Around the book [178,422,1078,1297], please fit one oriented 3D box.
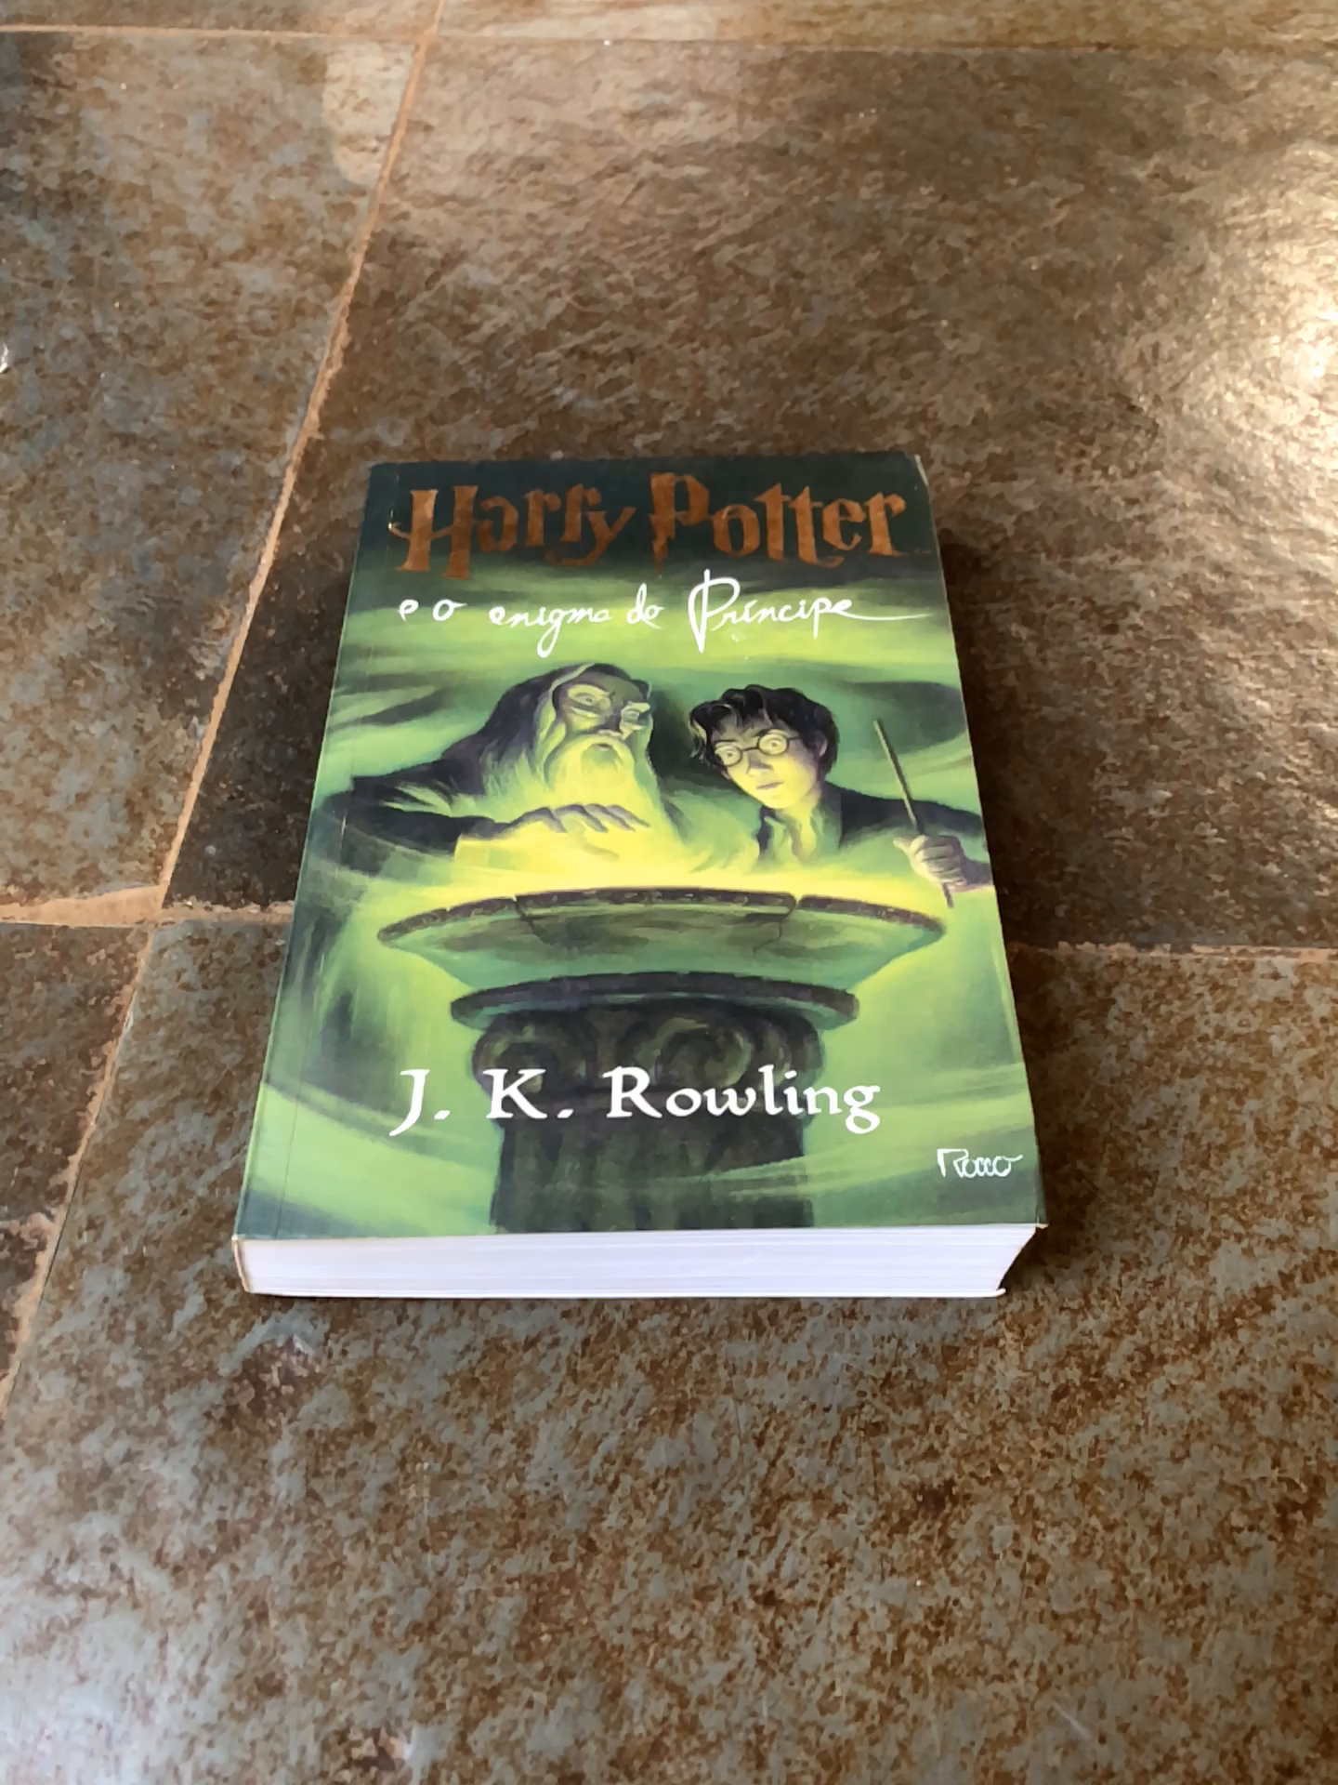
[{"bbox_3d":[-0.006,-0.020,0.305,0.142,0.030,0.201,0,55,0],"label":"book"}]
